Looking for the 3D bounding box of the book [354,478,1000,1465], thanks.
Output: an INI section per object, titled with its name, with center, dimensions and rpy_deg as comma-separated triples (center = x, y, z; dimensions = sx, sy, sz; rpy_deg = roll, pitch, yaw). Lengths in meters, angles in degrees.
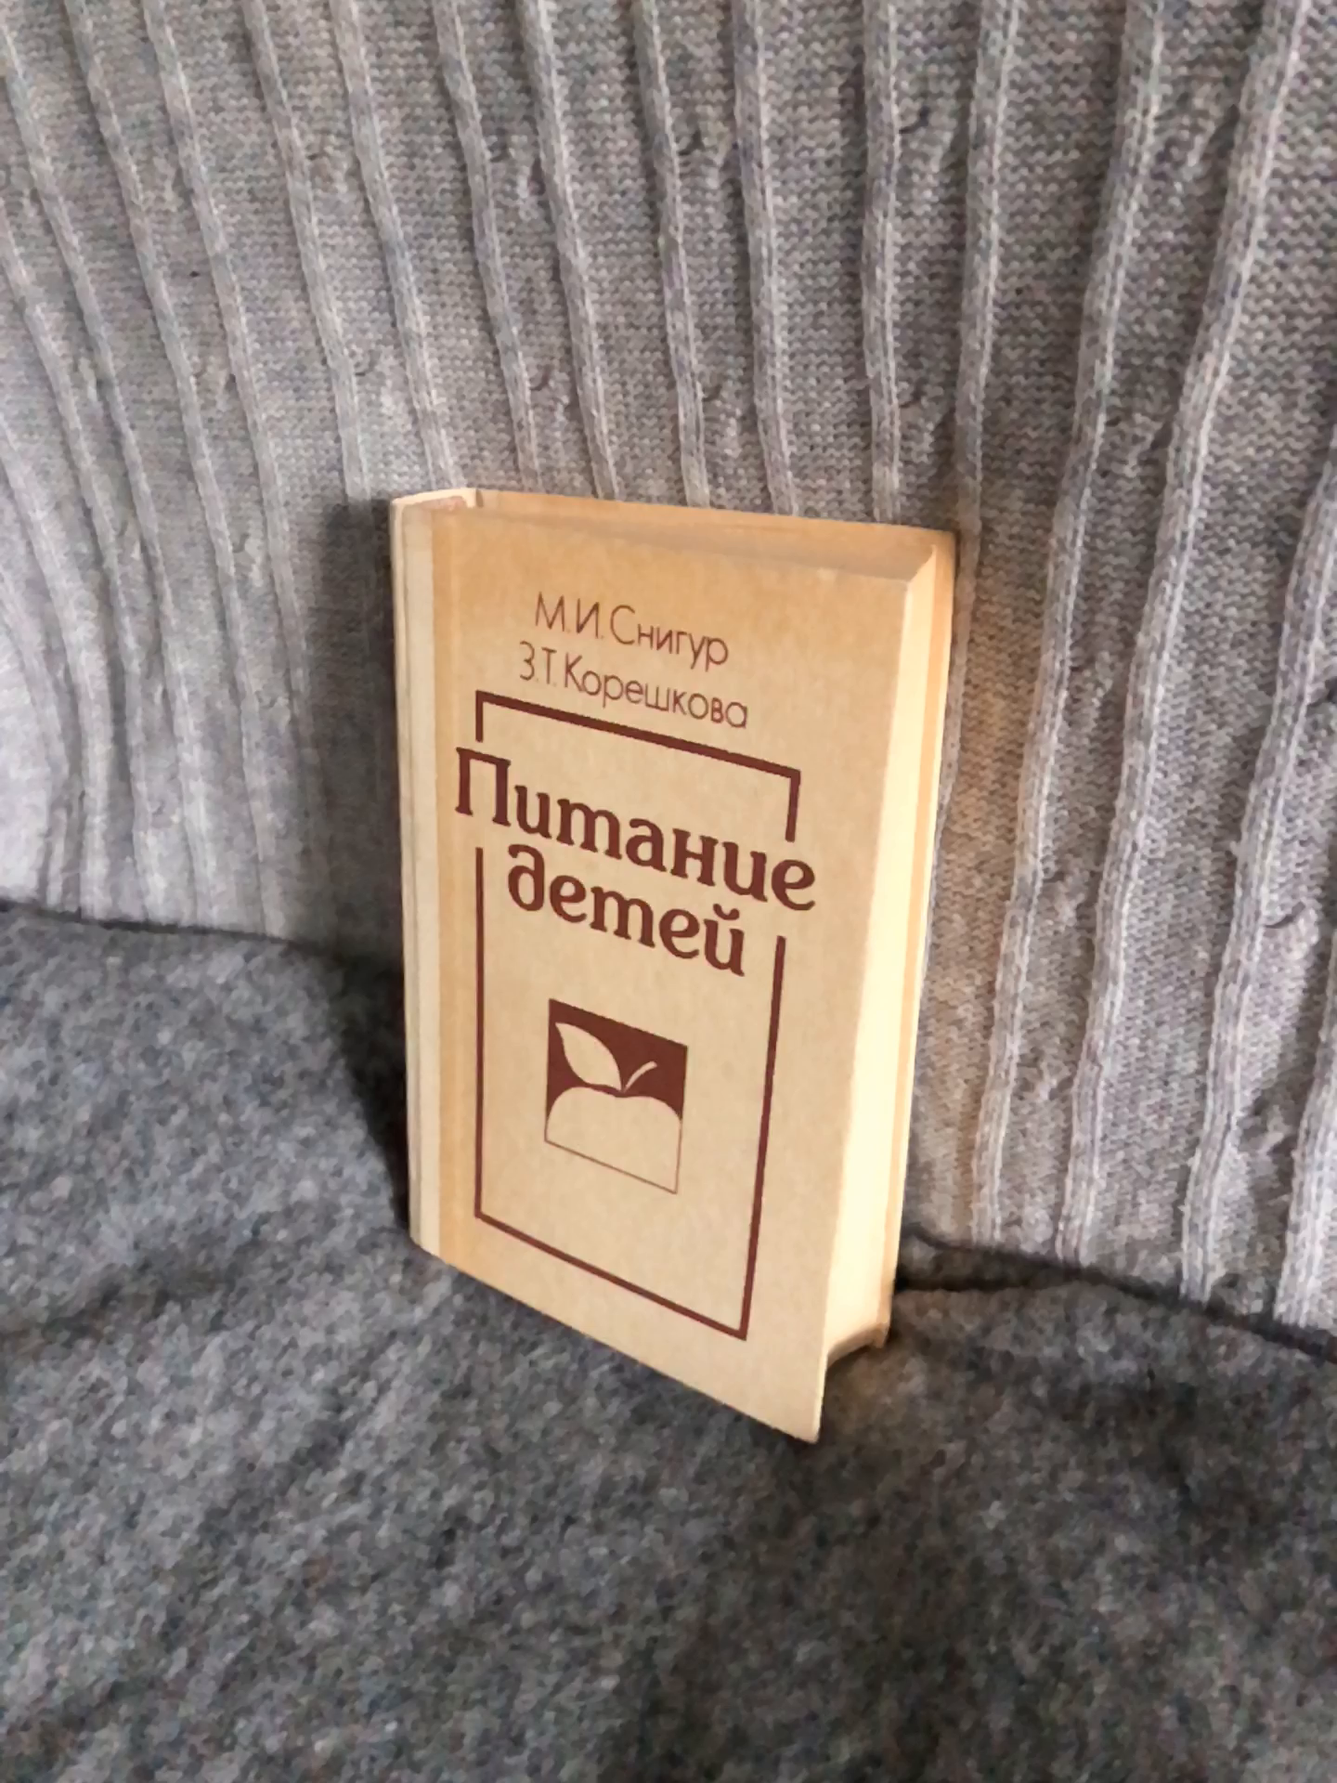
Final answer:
[book]
center = -0.004, 0.016, 0.361
dimensions = 0.140, 0.212, 0.041
rpy_deg = 14, 24, 29
